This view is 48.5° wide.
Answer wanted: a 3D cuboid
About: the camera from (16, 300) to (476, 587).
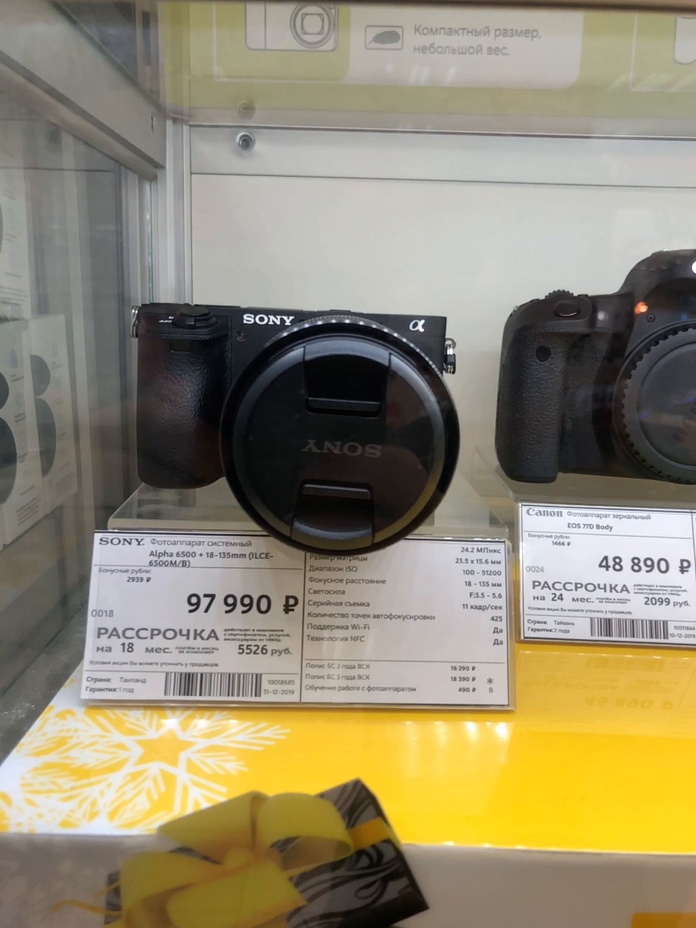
[{"bbox_3d":[-0.027,-0.018,0.285,0.130,0.080,0.123,2,12,2],"label":"camera"}]
